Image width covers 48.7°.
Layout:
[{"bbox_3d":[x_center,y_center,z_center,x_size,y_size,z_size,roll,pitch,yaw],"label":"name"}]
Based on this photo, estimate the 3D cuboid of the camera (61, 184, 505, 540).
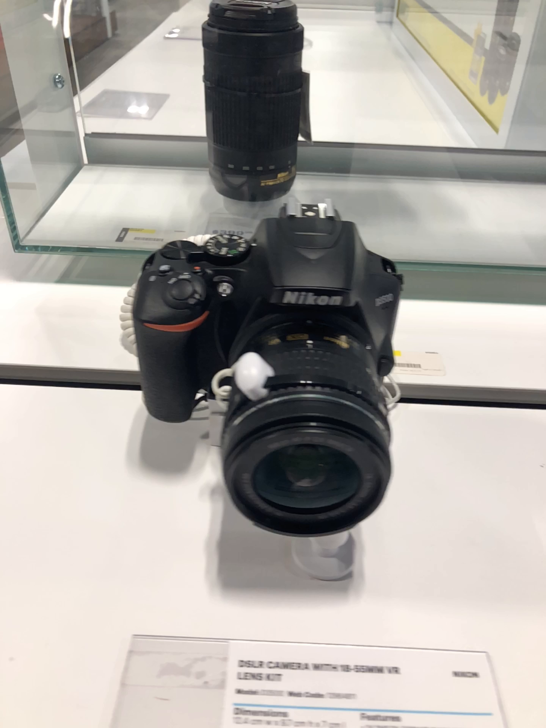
[{"bbox_3d":[0.002,-0.008,0.257,0.131,0.089,0.131,1,37,-1],"label":"camera"}]
